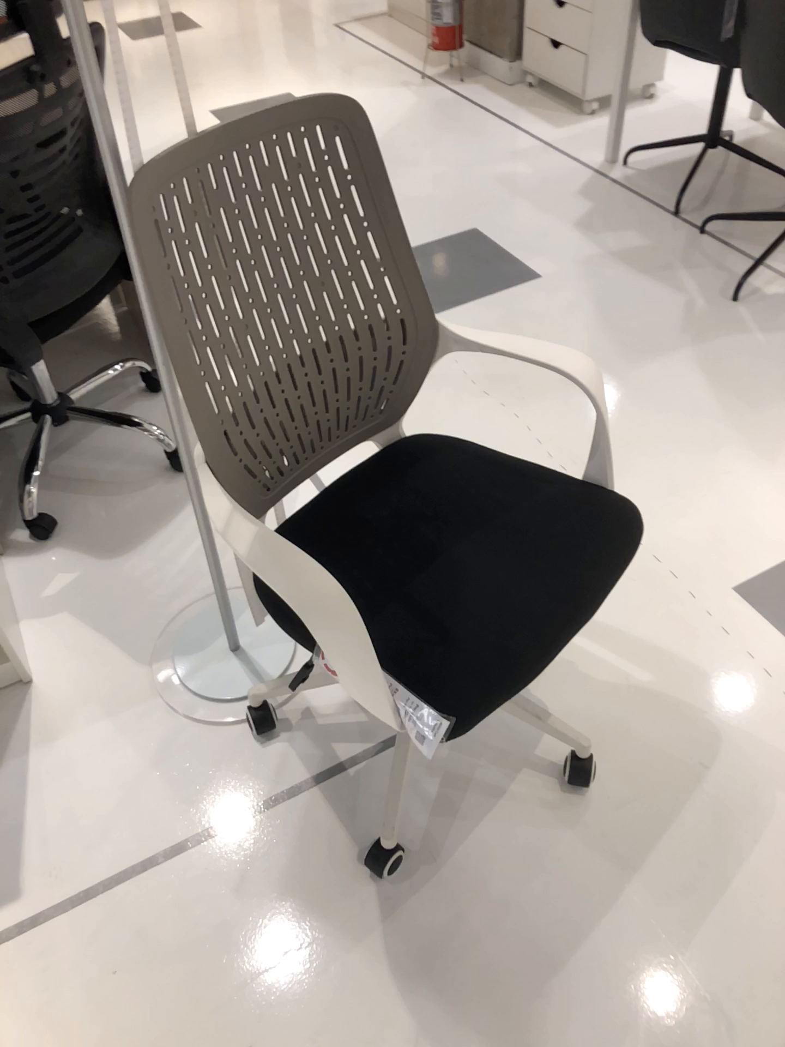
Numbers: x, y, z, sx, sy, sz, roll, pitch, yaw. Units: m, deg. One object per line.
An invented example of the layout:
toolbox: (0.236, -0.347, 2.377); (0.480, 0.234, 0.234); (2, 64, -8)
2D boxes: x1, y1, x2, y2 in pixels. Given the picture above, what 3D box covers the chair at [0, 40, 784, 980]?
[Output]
chair: (0.054, -0.020, 1.278); (0.672, 1.003, 0.693); (32, 54, 31)
